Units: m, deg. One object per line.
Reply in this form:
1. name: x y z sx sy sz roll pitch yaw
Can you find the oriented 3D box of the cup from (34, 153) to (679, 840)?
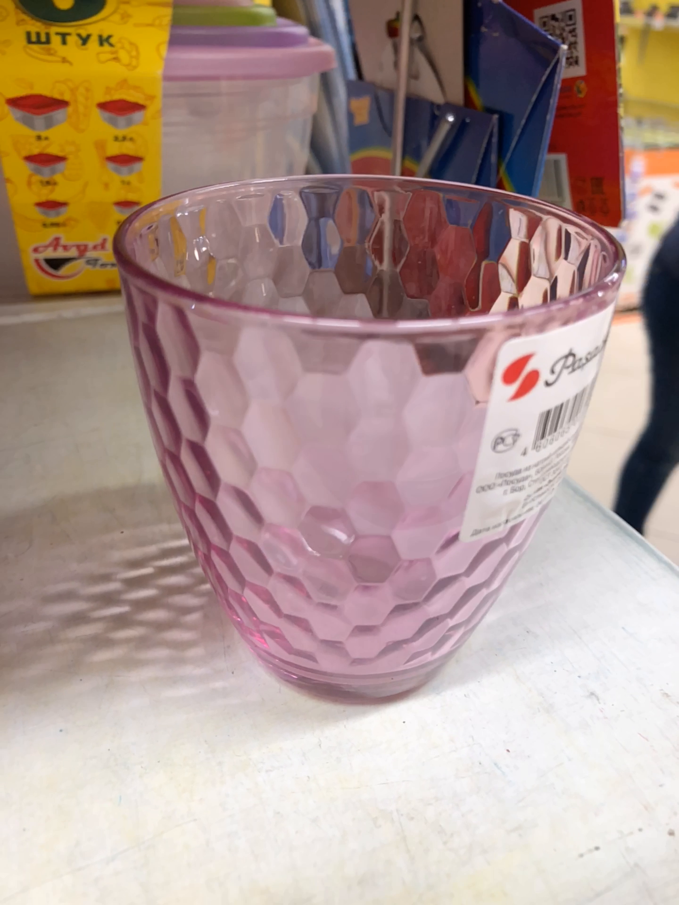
1. cup: 0.008 -0.005 0.143 0.090 0.074 0.078 -22 40 -33
